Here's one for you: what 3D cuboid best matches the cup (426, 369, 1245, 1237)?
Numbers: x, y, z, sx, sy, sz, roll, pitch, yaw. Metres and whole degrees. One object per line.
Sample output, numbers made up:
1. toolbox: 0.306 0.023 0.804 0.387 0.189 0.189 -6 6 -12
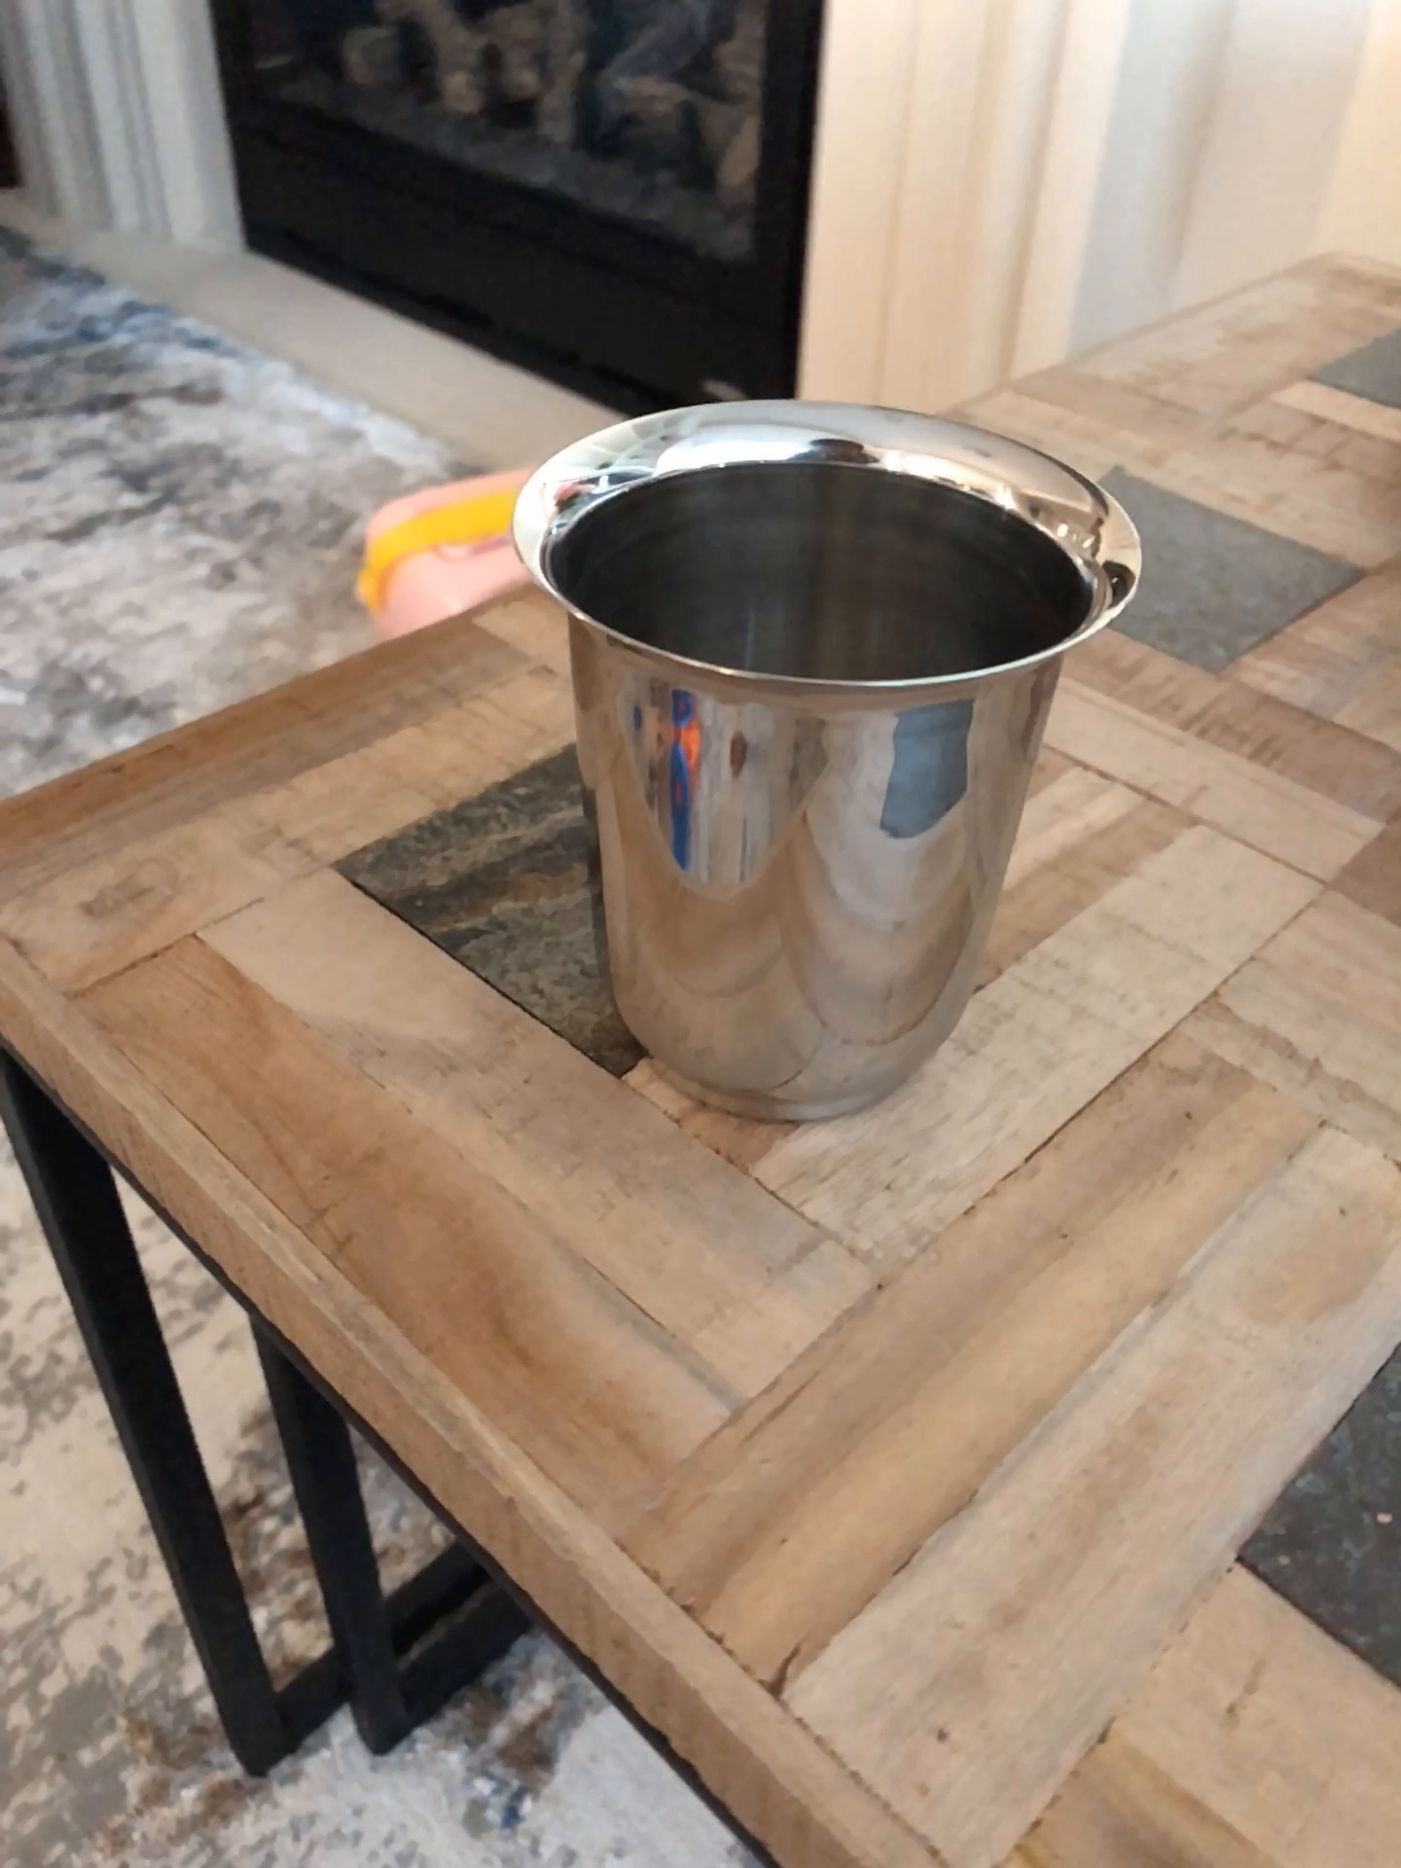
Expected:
1. cup: 0.012 -0.023 0.237 0.084 0.088 0.083 1 40 -1
